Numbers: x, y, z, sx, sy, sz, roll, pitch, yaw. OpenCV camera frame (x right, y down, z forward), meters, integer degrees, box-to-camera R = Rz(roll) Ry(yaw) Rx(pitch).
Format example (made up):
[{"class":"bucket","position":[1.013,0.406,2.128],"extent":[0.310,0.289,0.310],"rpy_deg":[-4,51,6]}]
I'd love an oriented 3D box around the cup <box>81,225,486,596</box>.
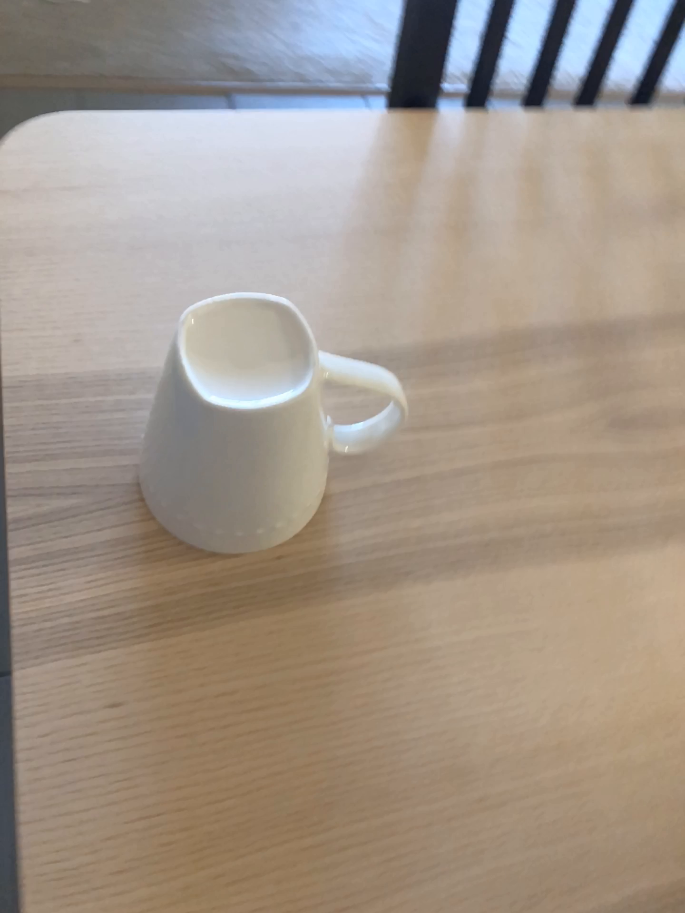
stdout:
[{"class":"cup","position":[-0.033,-0.019,0.358],"extent":[0.140,0.120,0.100],"rpy_deg":[-13,64,-18]}]
